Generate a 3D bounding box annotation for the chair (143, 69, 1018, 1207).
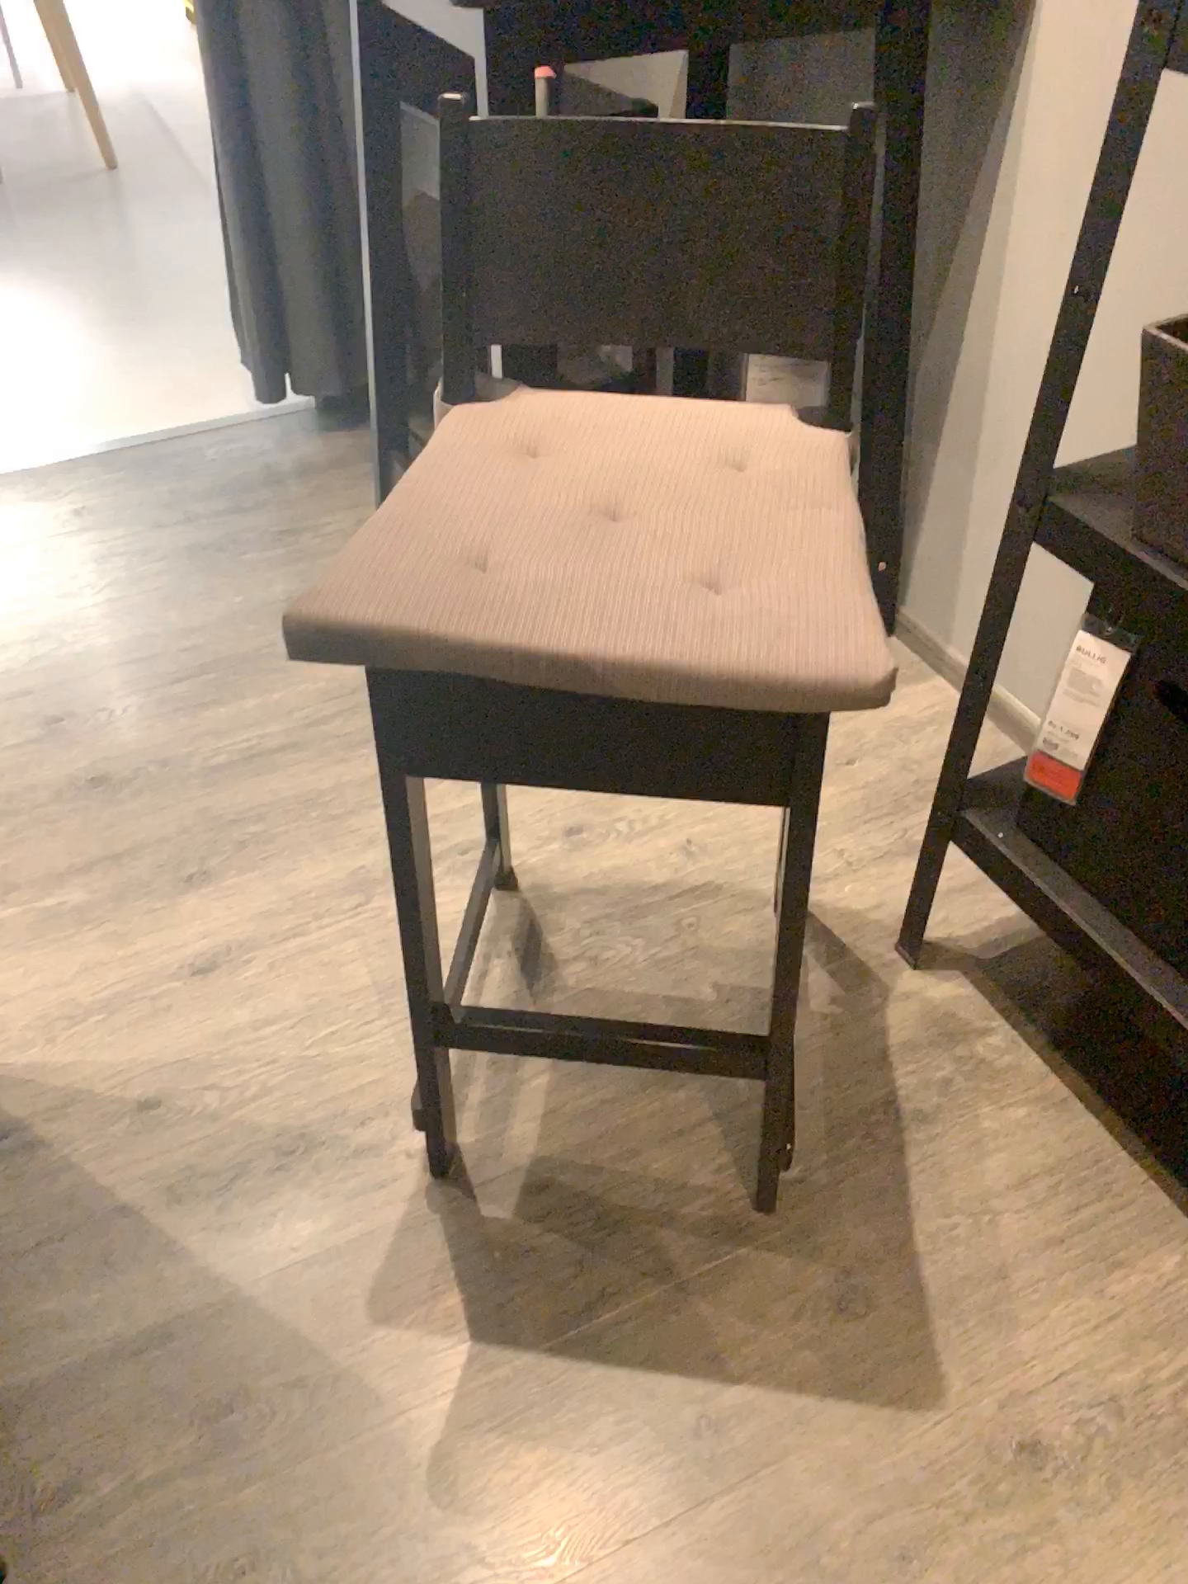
[{"bbox_3d":[0.018,-0.096,1.112,0.460,0.886,0.502,4,43,5],"label":"chair"}]
